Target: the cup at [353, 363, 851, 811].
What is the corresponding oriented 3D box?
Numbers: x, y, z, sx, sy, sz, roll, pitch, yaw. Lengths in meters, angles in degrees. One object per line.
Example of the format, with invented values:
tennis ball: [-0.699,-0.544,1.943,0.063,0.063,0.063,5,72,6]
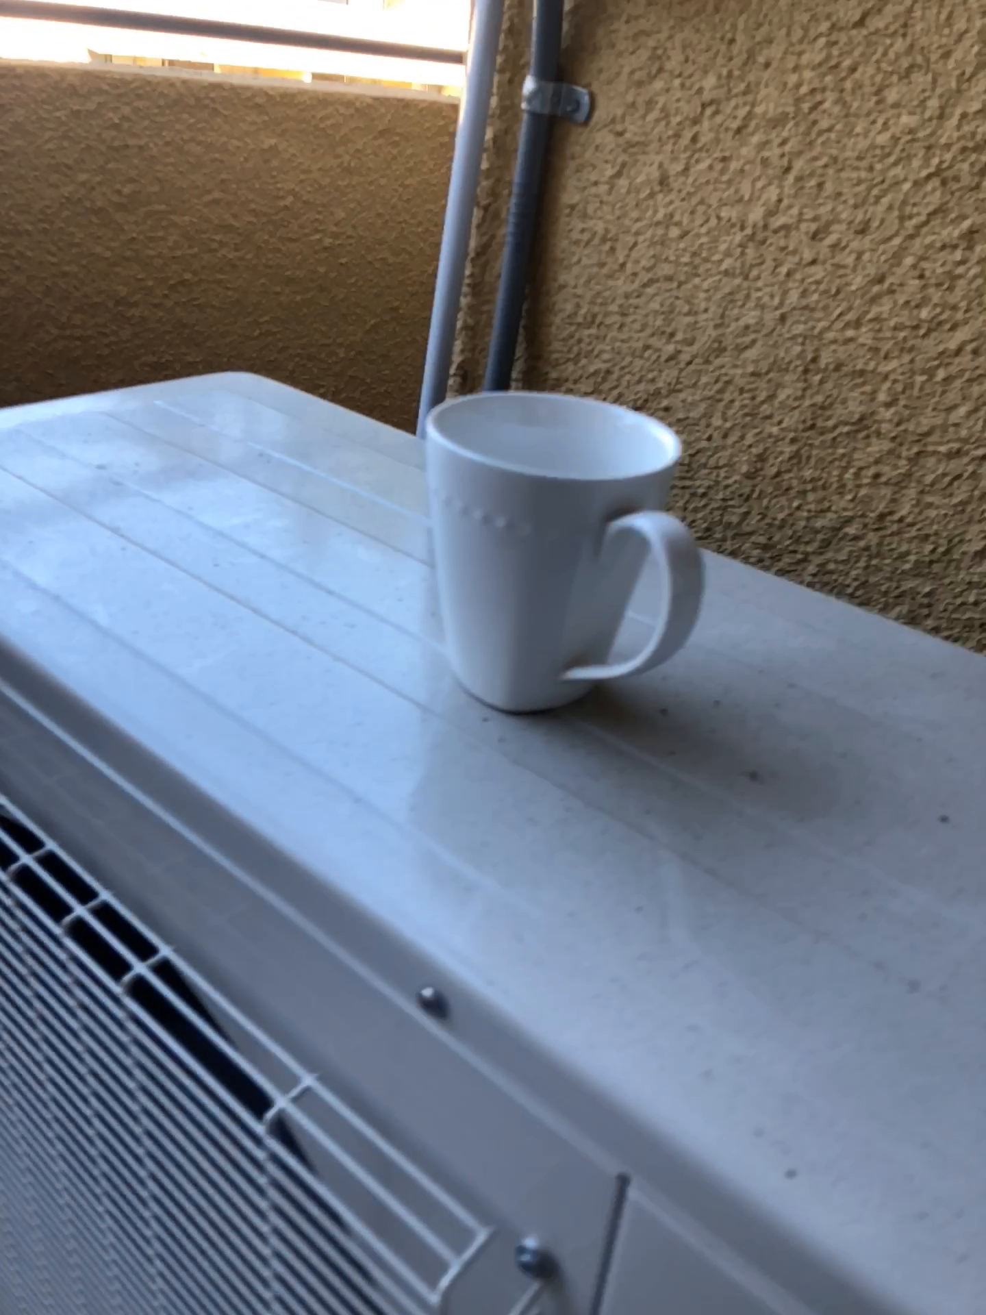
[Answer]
cup: [0.031,-0.037,0.400,0.100,0.100,0.140,-15,37,-36]
